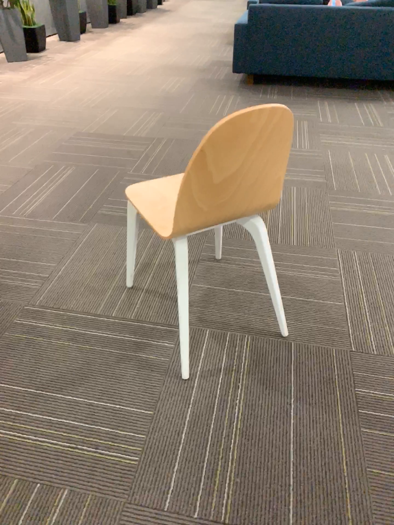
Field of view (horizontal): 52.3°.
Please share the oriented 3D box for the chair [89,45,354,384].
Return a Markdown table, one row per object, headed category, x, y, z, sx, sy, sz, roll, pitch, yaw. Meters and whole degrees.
| category | x | y | z | sx | sy | sz | roll | pitch | yaw |
| --- | --- | --- | --- | --- | --- | --- | --- | --- | --- |
| chair | 0.022 | -0.169 | 1.284 | 0.460 | 0.825 | 0.573 | -17 | 41 | -21 |
